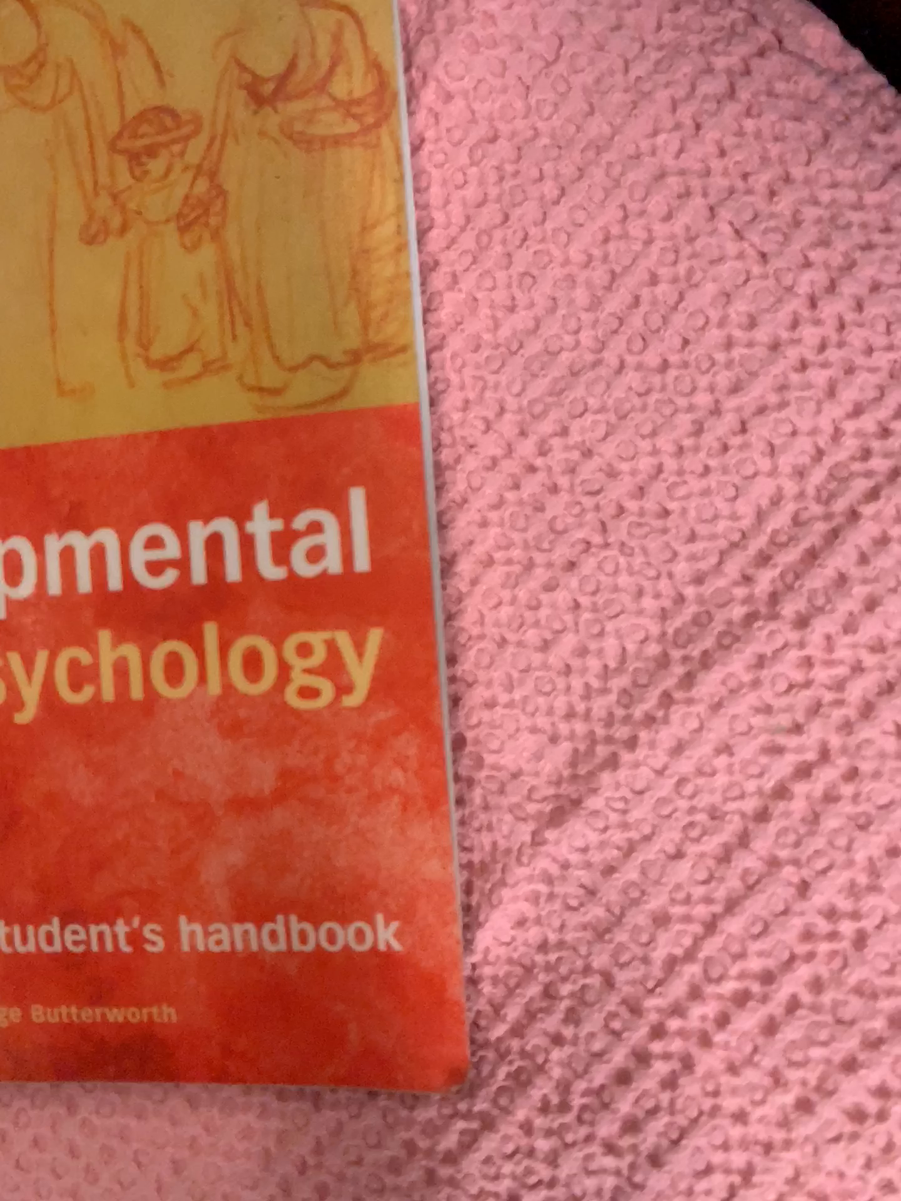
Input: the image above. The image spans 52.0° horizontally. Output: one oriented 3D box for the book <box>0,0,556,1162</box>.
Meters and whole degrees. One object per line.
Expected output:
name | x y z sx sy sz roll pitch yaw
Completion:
book | -0.092 -0.014 0.213 0.210 0.040 0.260 -5 89 8
